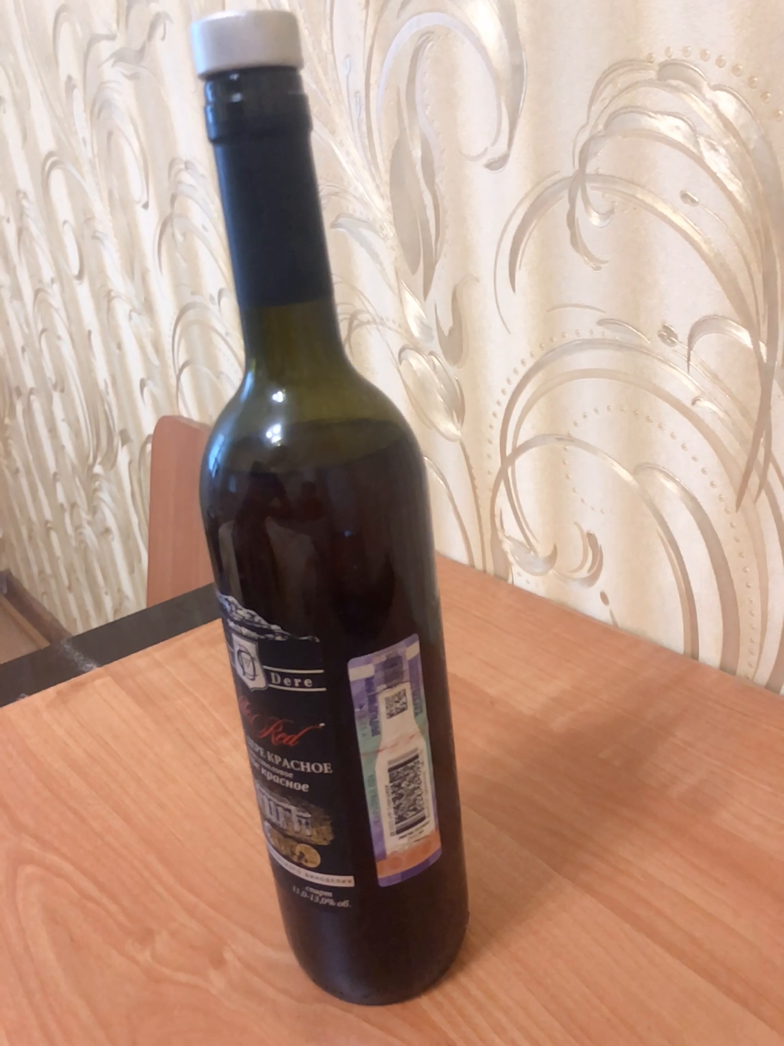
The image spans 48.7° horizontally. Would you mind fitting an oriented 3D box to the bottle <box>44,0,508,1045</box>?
[{"bbox_3d":[-0.028,0.010,0.291,0.073,0.322,0.084,-20,24,-29],"label":"bottle"}]
